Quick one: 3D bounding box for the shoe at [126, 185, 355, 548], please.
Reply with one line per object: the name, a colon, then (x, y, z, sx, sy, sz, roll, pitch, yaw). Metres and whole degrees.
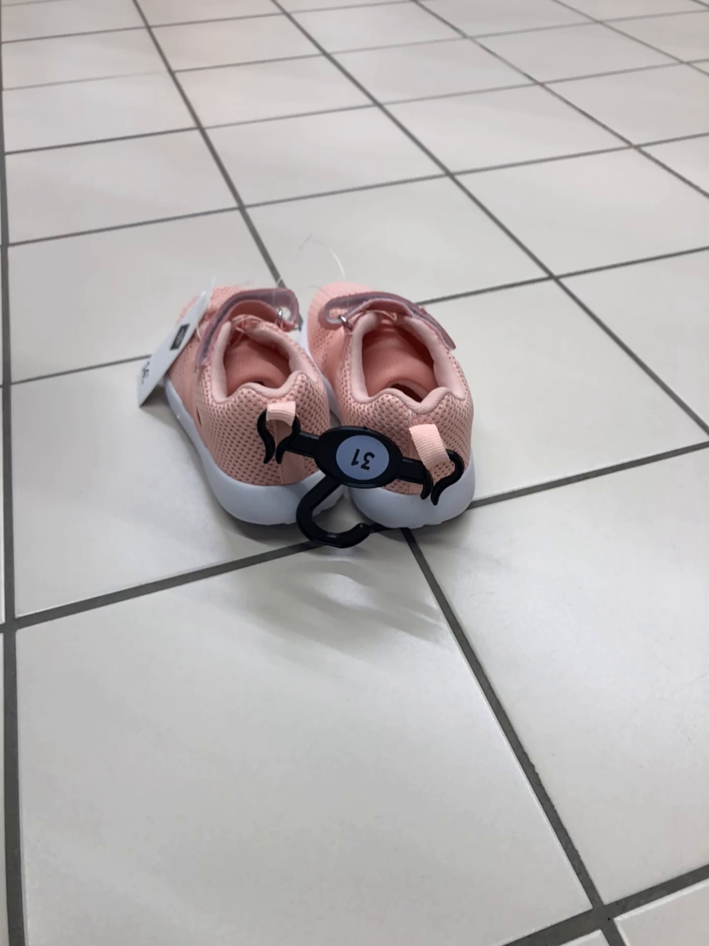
shoe: (-0.069, -0.071, 0.445, 0.083, 0.093, 0.204, -12, 44, -12)

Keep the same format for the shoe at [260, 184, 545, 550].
shoe: (0.014, -0.072, 0.444, 0.080, 0.092, 0.211, -13, 45, -13)
